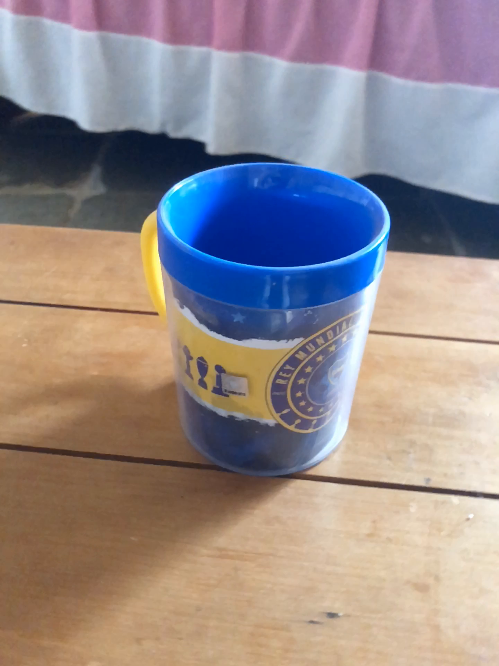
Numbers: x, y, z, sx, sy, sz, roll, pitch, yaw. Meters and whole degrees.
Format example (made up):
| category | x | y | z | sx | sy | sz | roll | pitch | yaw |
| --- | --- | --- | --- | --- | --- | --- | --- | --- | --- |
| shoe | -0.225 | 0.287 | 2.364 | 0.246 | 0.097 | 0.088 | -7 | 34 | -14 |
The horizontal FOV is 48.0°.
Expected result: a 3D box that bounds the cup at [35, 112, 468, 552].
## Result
| category | x | y | z | sx | sy | sz | roll | pitch | yaw |
| --- | --- | --- | --- | --- | --- | --- | --- | --- | --- |
| cup | -0.002 | -0.009 | 0.227 | 0.120 | 0.109 | 0.091 | 29 | 46 | 30 |
